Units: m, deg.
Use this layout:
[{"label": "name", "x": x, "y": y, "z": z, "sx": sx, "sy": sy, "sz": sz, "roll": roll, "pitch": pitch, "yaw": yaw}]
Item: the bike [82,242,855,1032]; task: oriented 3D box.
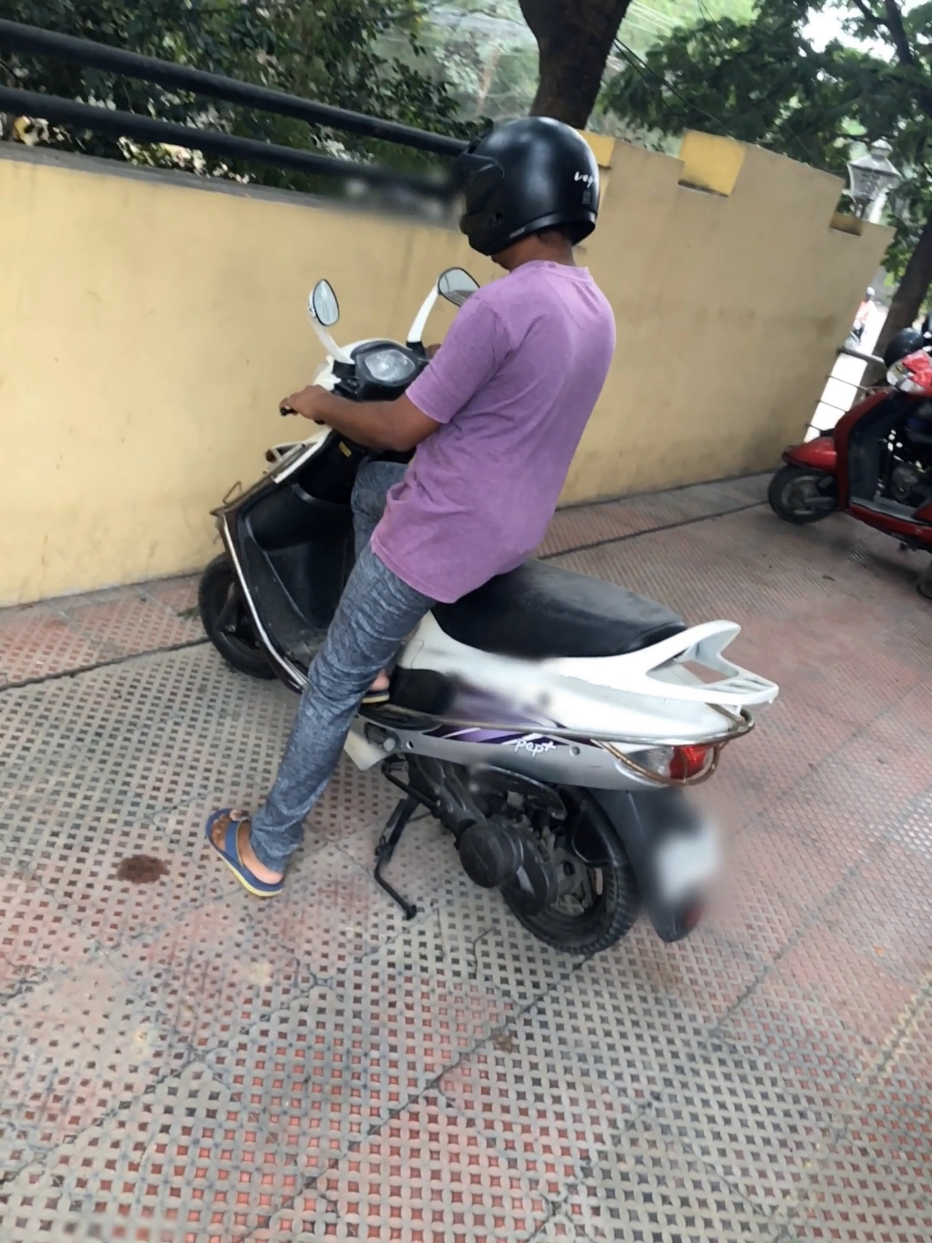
[{"label": "bike", "x": -0.118, "y": -0.075, "z": 2.327, "sx": 1.502, "sy": 0.949, "sz": 0.645, "roll": 36, "pitch": 31, "yaw": 30}]
